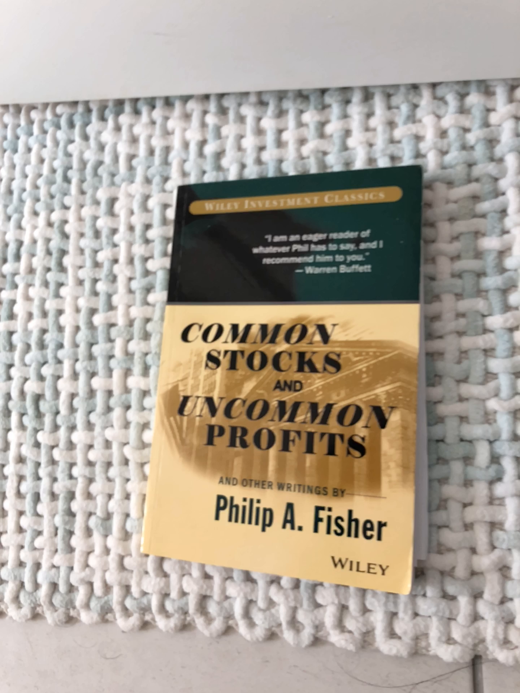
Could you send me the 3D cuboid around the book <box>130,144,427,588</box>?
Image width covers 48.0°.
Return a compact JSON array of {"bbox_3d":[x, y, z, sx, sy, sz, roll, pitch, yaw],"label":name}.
[{"bbox_3d":[0.013,0.004,0.361,0.166,0.027,0.247,1,80,19],"label":"book"}]
